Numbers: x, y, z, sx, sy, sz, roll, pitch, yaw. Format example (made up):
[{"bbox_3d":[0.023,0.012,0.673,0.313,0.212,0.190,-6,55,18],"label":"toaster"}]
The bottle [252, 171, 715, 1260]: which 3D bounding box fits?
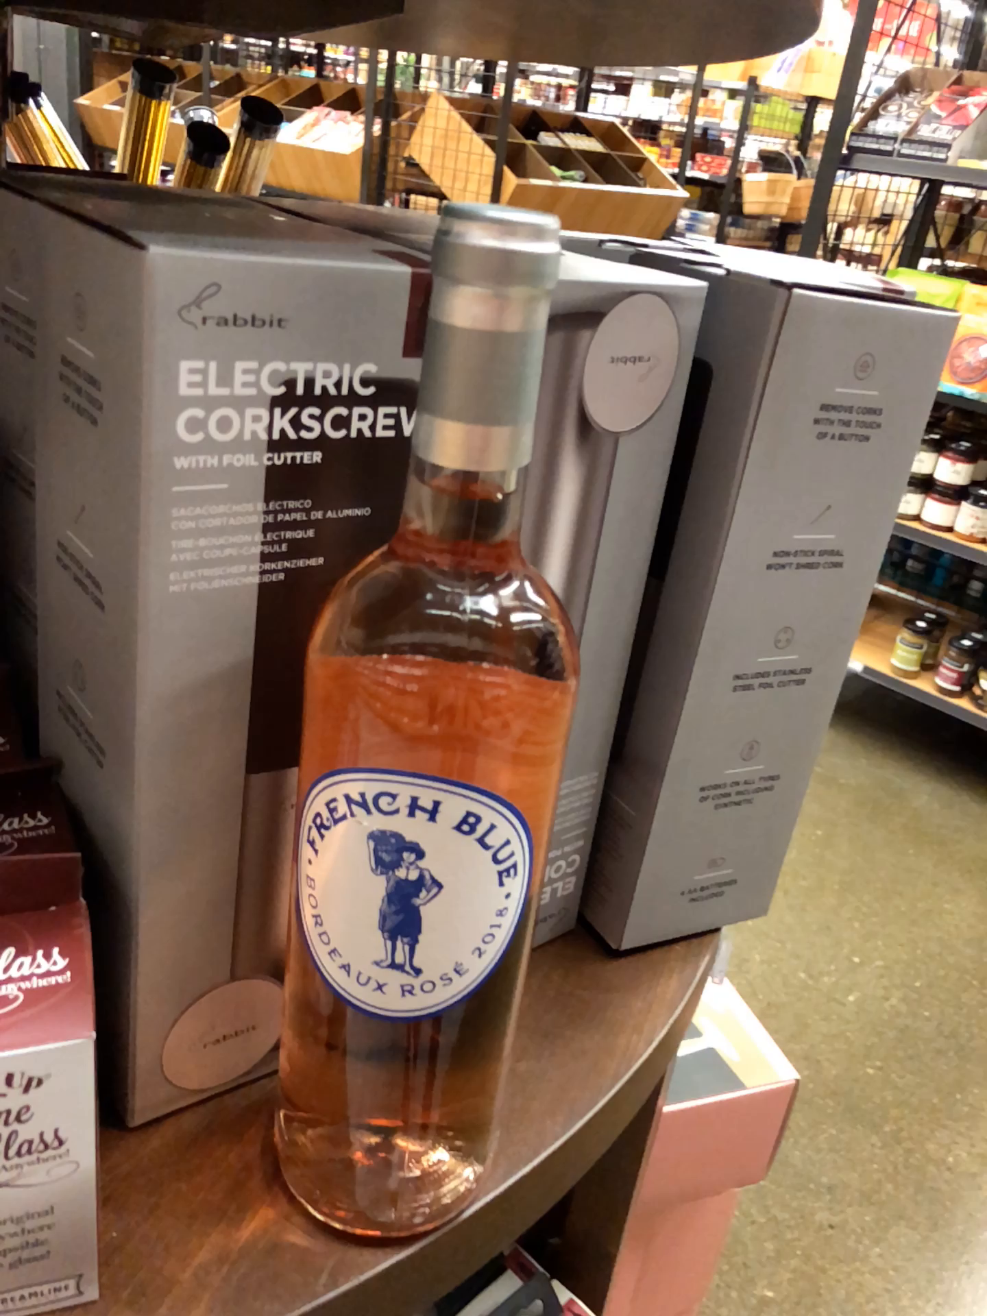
[{"bbox_3d":[-0.016,0.030,0.299,0.078,0.289,0.080,6,25,-3],"label":"bottle"}]
